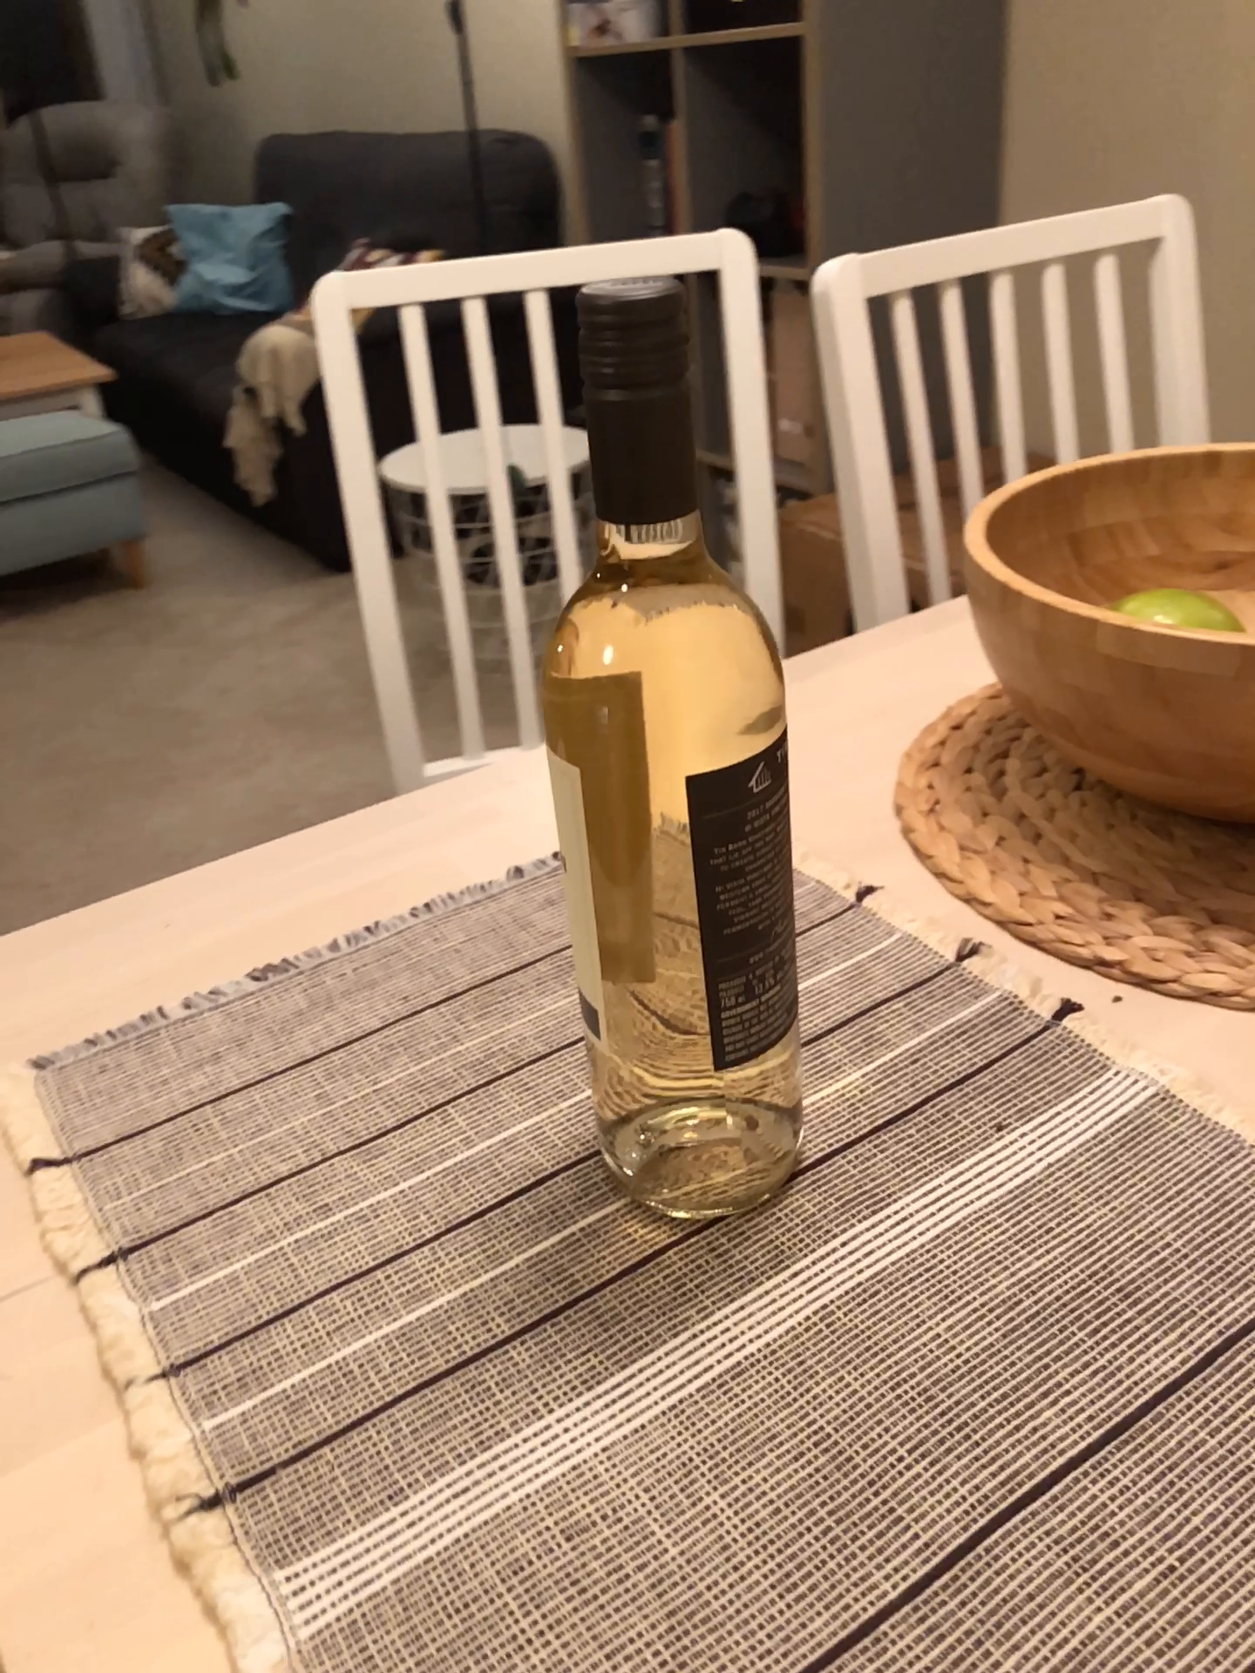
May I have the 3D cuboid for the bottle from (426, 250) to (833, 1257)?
[{"bbox_3d":[0.014,-0.015,0.431,0.080,0.298,0.080,-4,29,2],"label":"bottle"}]
